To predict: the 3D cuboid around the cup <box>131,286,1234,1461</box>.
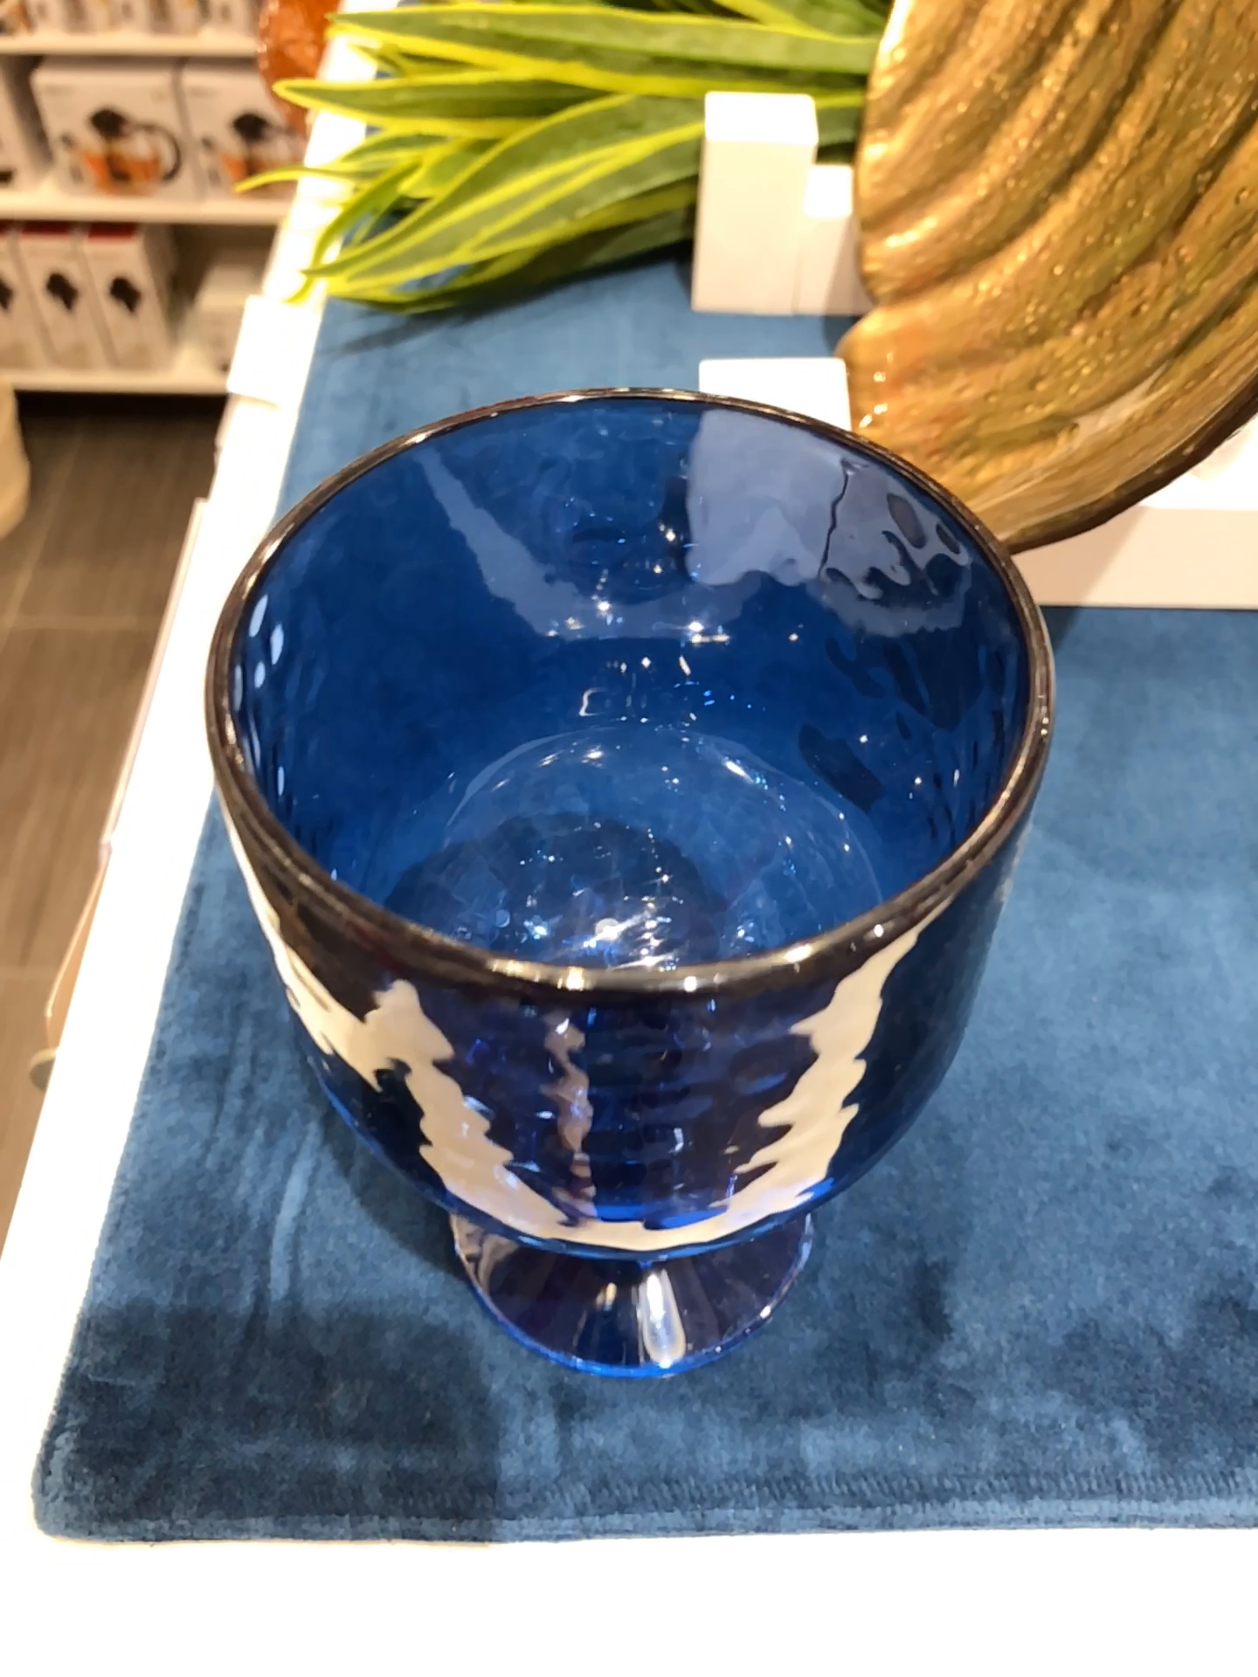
[{"bbox_3d":[-0.001,0.016,0.196,0.090,0.140,0.080,-12,55,-9],"label":"cup"}]
